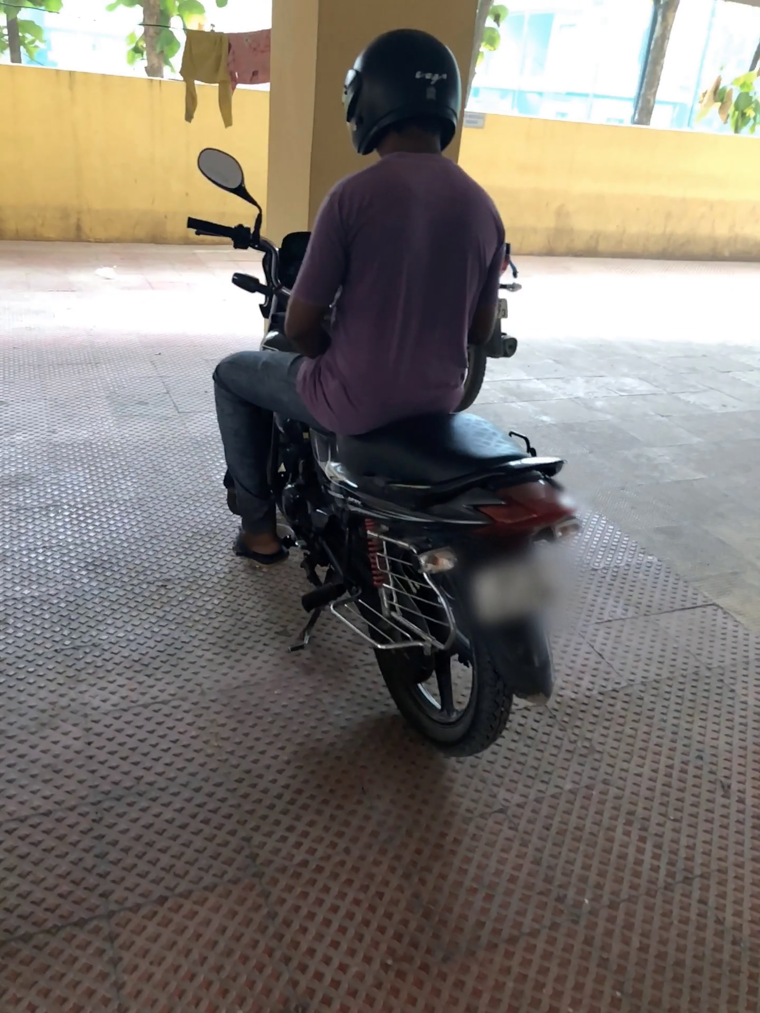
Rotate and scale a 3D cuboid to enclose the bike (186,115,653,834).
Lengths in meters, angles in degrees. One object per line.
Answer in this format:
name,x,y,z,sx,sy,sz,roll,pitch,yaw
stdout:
bike,-0.091,-0.290,2.289,0.632,1.063,1.654,-5,34,-21
